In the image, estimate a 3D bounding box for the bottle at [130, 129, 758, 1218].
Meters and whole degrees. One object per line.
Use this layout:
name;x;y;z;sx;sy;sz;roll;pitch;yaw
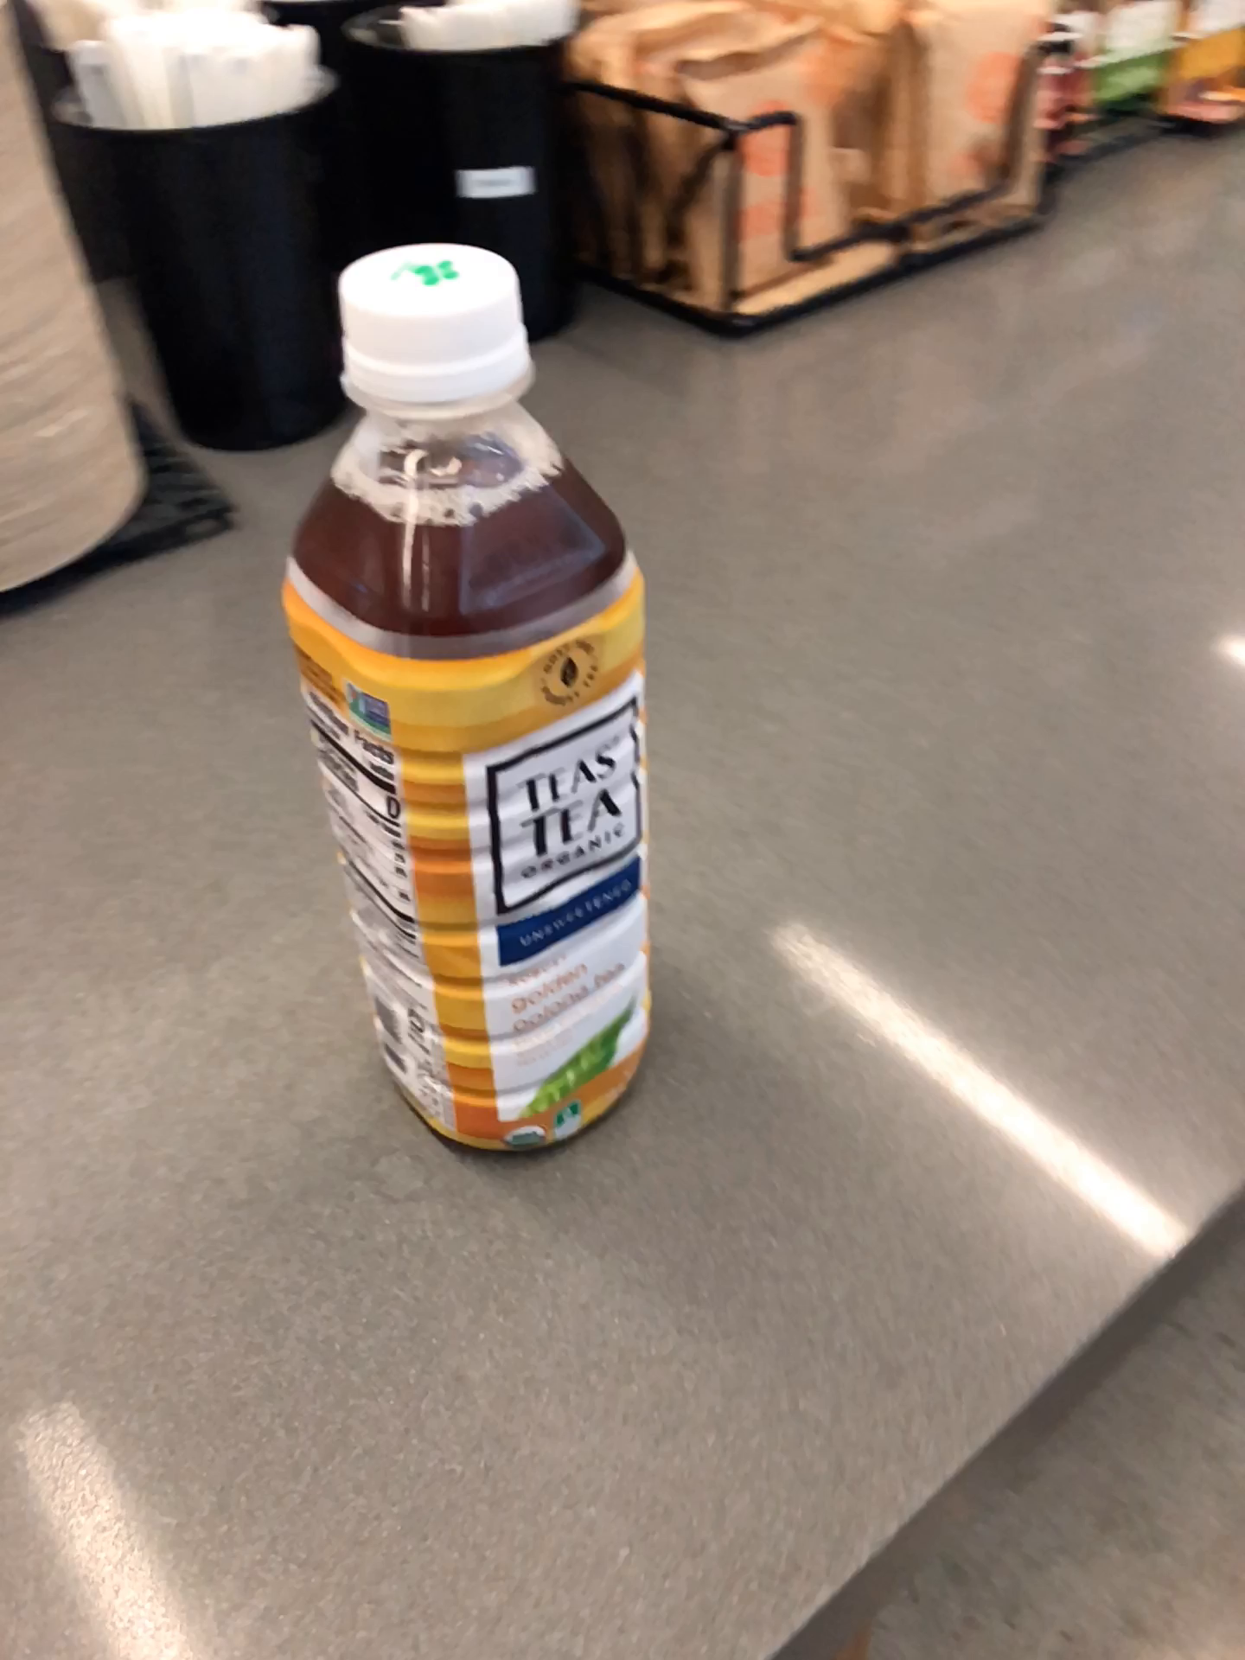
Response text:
bottle;-0.025;-0.021;0.283;0.070;0.199;0.070;-1;41;1
